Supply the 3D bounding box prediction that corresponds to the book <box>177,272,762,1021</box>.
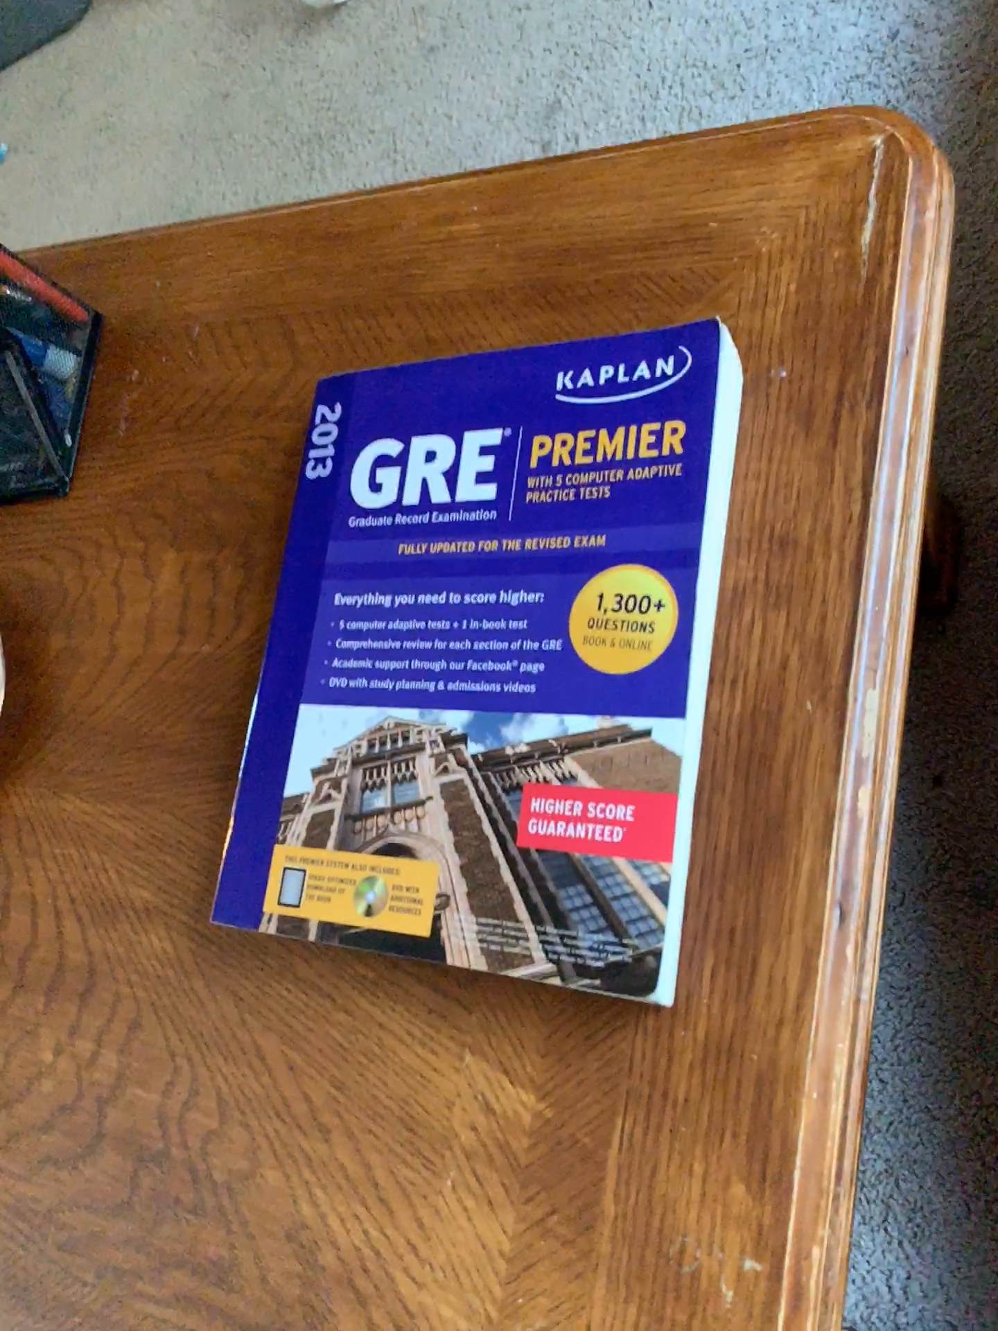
[{"bbox_3d":[-0.011,-0.013,0.457,0.221,0.060,0.290,1,76,27],"label":"book"}]
